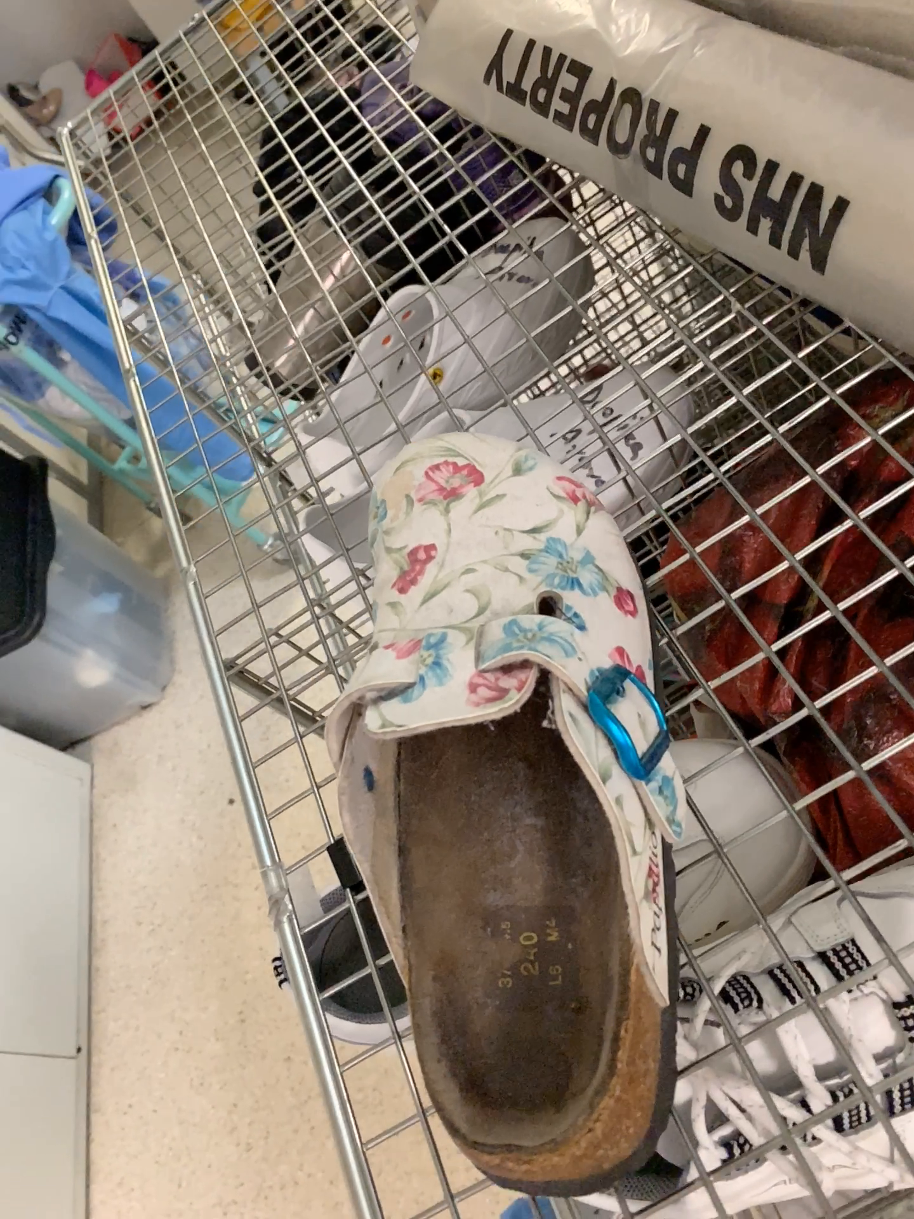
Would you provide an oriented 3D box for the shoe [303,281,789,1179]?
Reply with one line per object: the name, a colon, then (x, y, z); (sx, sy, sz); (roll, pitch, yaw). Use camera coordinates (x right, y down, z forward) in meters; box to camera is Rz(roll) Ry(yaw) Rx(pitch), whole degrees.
shoe: (0.014, 0.026, 0.303); (0.100, 0.070, 0.260); (-19, 56, 19)
